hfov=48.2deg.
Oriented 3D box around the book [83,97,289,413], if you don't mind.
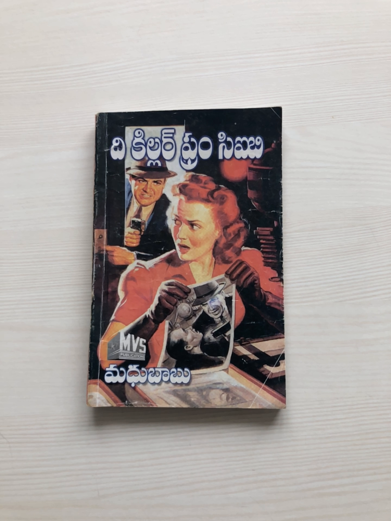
[{"bbox_3d":[-0.005,-0.005,0.227,0.100,0.012,0.160,0,83,3],"label":"book"}]
